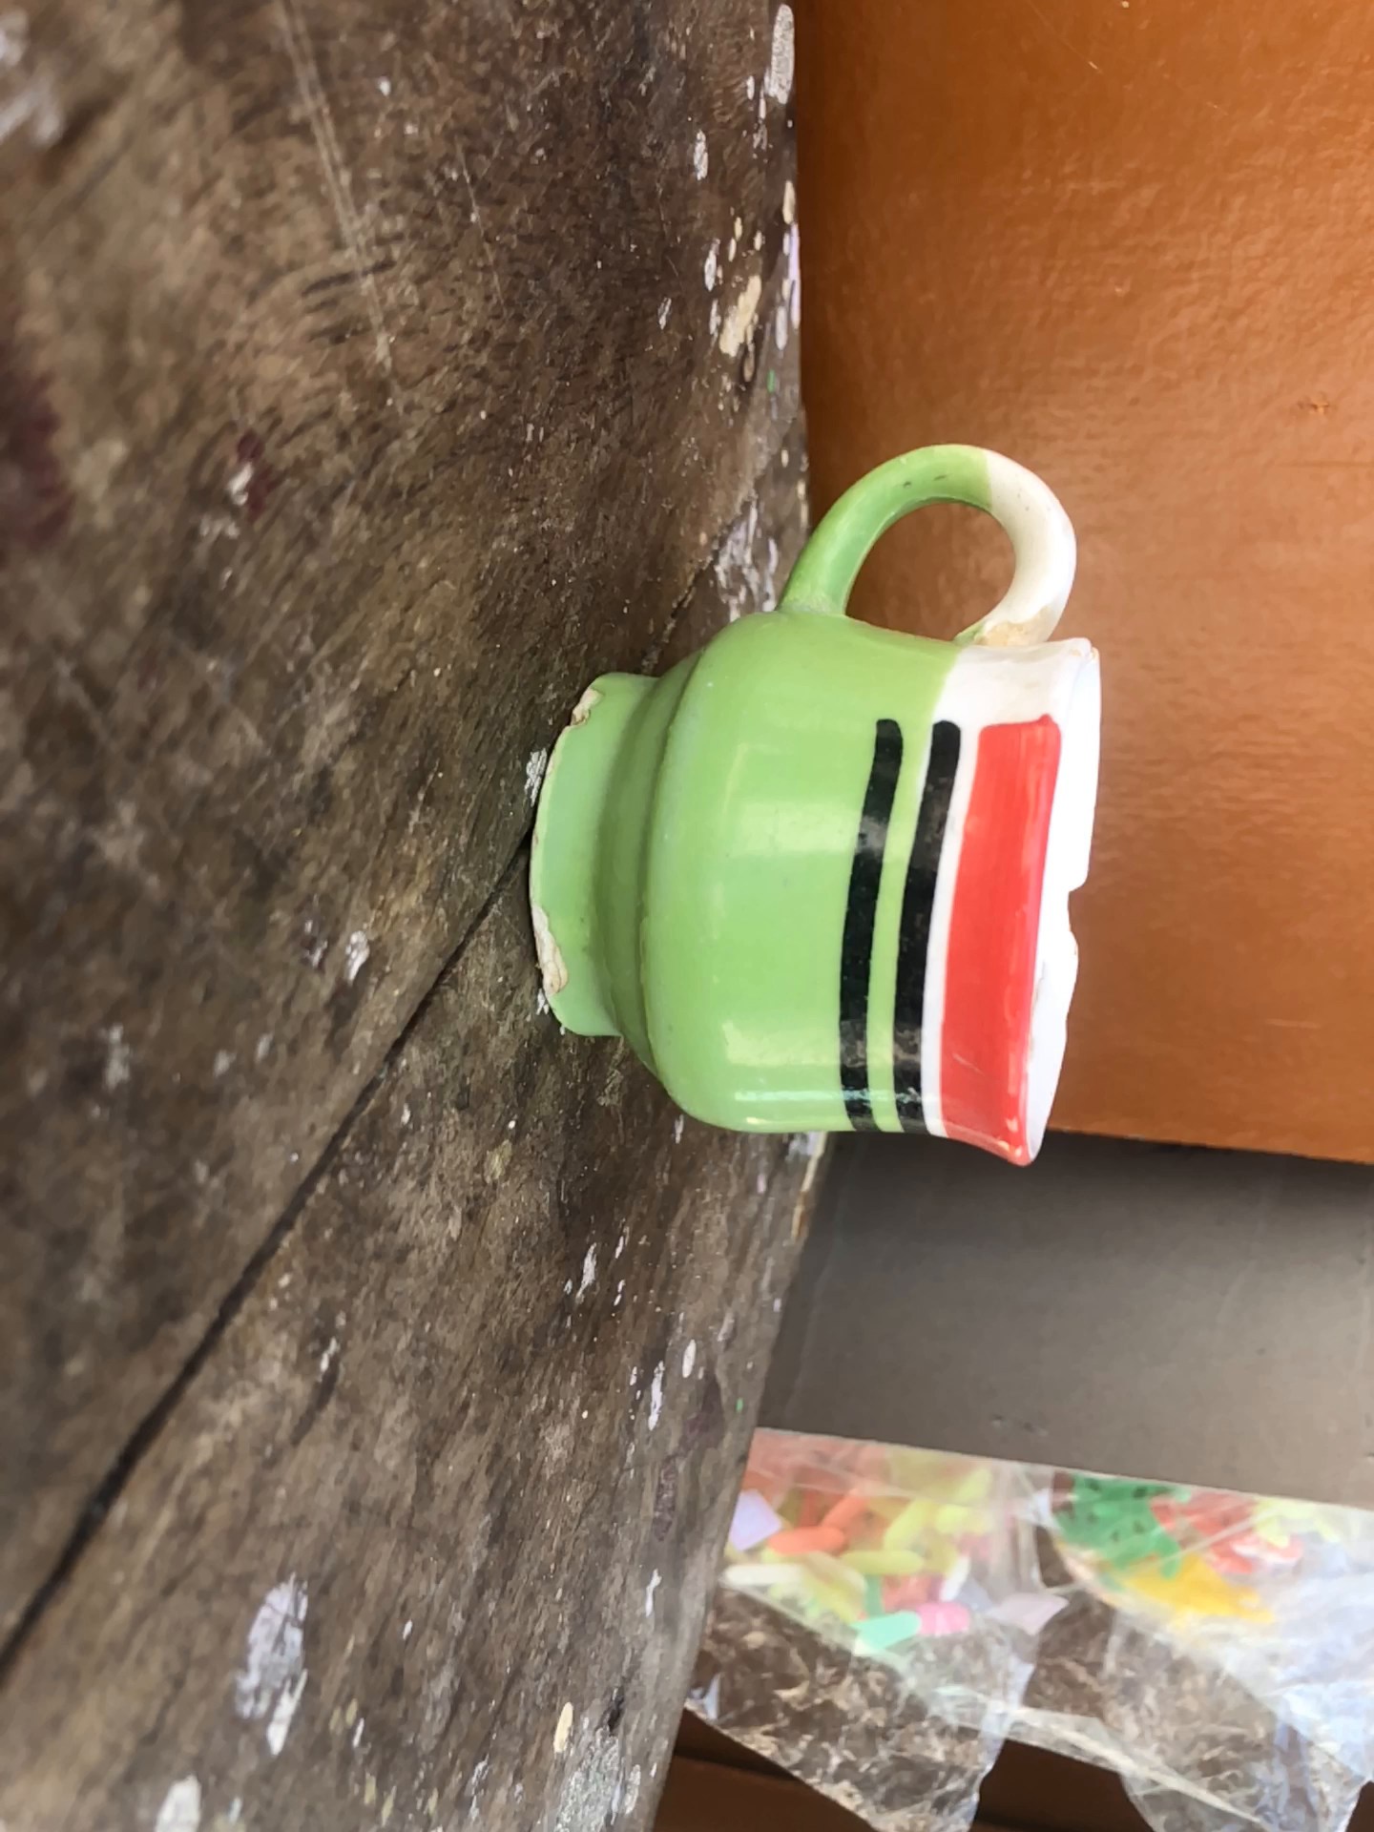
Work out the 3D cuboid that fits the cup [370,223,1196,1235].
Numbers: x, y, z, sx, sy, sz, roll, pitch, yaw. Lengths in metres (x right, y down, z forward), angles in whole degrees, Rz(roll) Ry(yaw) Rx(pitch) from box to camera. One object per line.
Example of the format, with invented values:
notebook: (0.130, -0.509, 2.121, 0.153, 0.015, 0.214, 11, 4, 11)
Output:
cup: (0.020, -0.020, 0.184, 0.070, 0.070, 0.090, 65, 33, -59)
